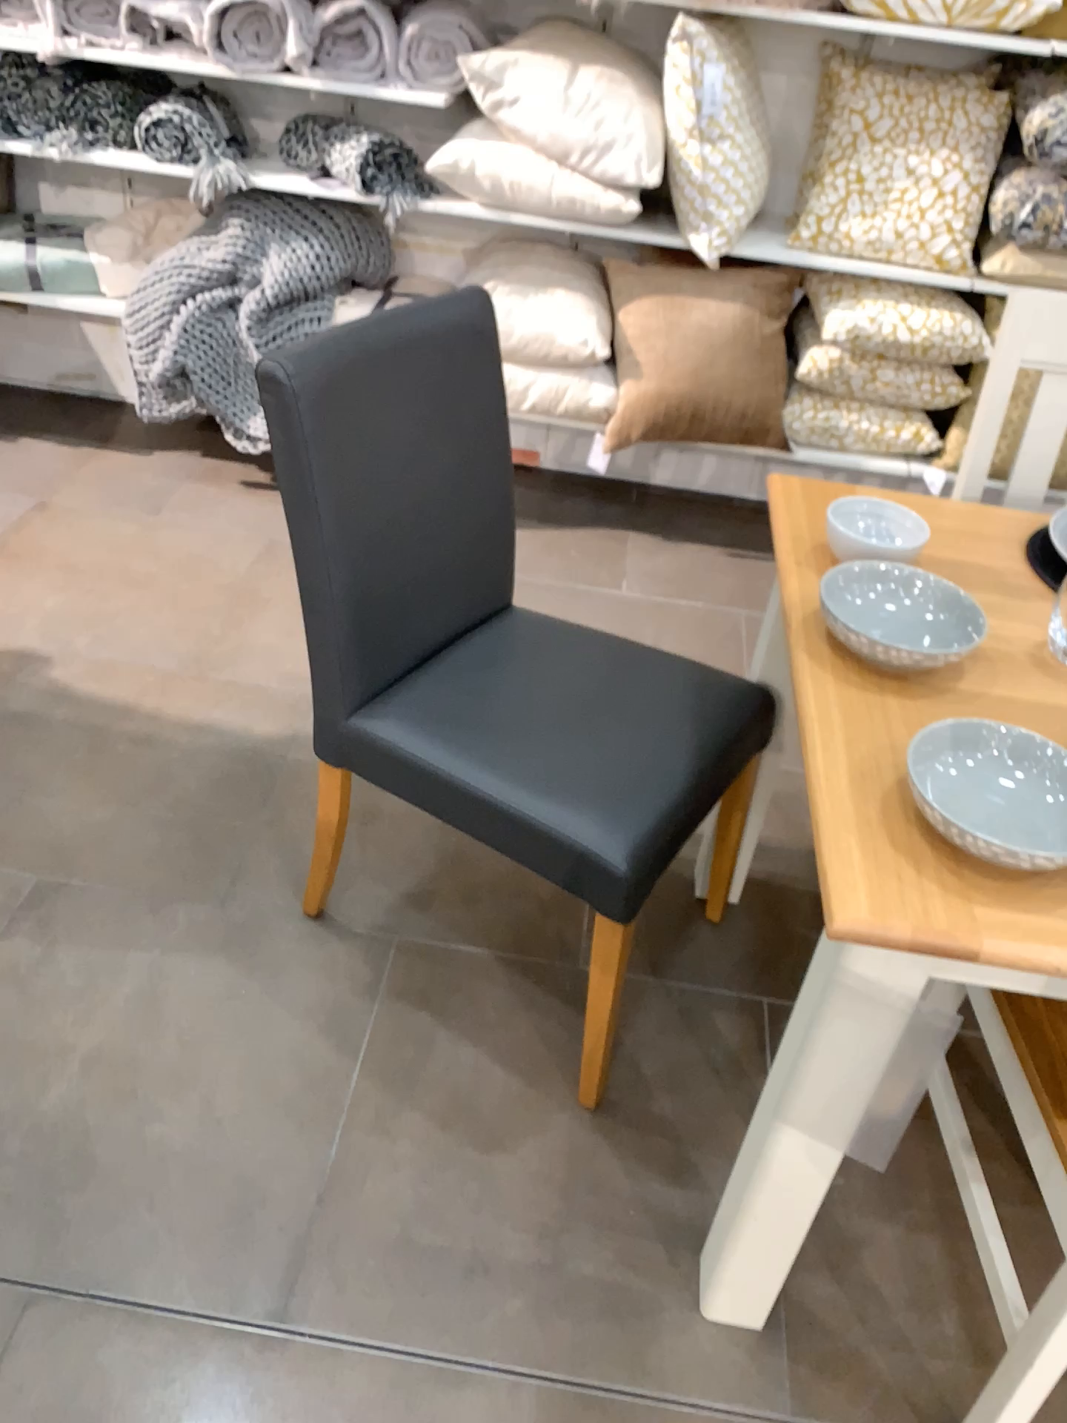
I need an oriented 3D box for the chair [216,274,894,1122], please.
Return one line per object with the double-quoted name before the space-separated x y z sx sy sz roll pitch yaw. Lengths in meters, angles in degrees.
"chair" -0.009 -0.030 1.556 0.651 0.906 0.478 25 40 23
